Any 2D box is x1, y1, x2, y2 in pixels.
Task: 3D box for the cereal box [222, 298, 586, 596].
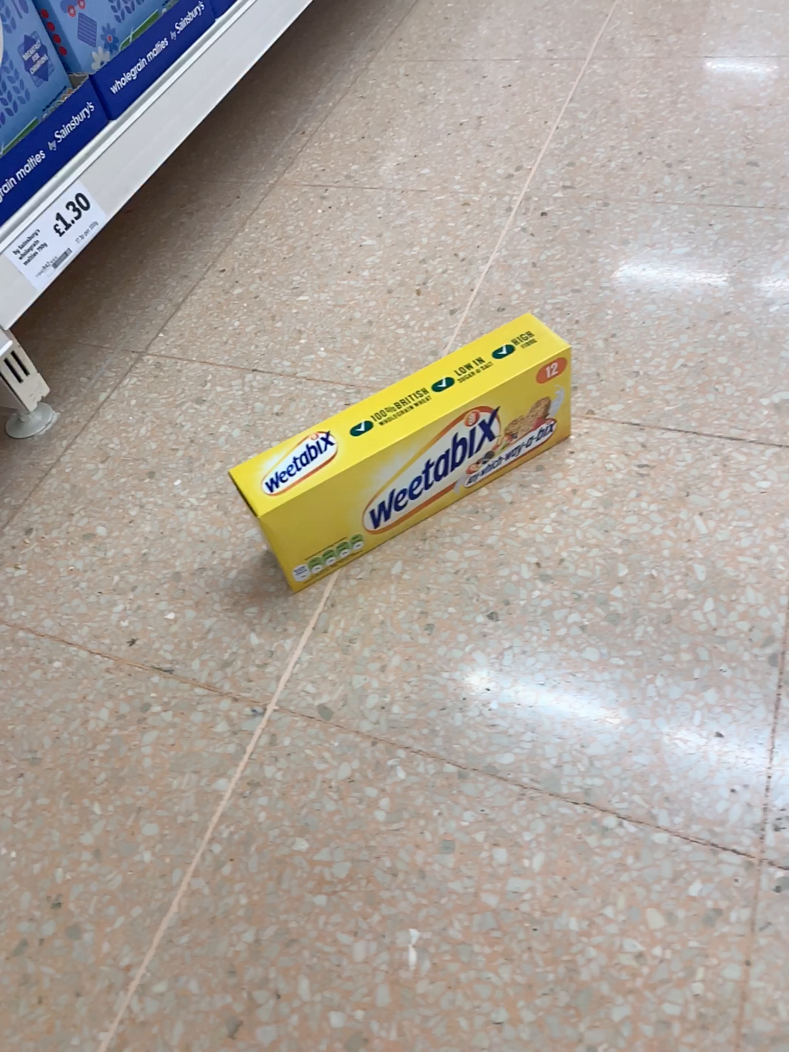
[{"bbox_3d":[0.017,-0.058,0.585,0.260,0.099,0.050,-29,52,-11],"label":"cereal box"}]
